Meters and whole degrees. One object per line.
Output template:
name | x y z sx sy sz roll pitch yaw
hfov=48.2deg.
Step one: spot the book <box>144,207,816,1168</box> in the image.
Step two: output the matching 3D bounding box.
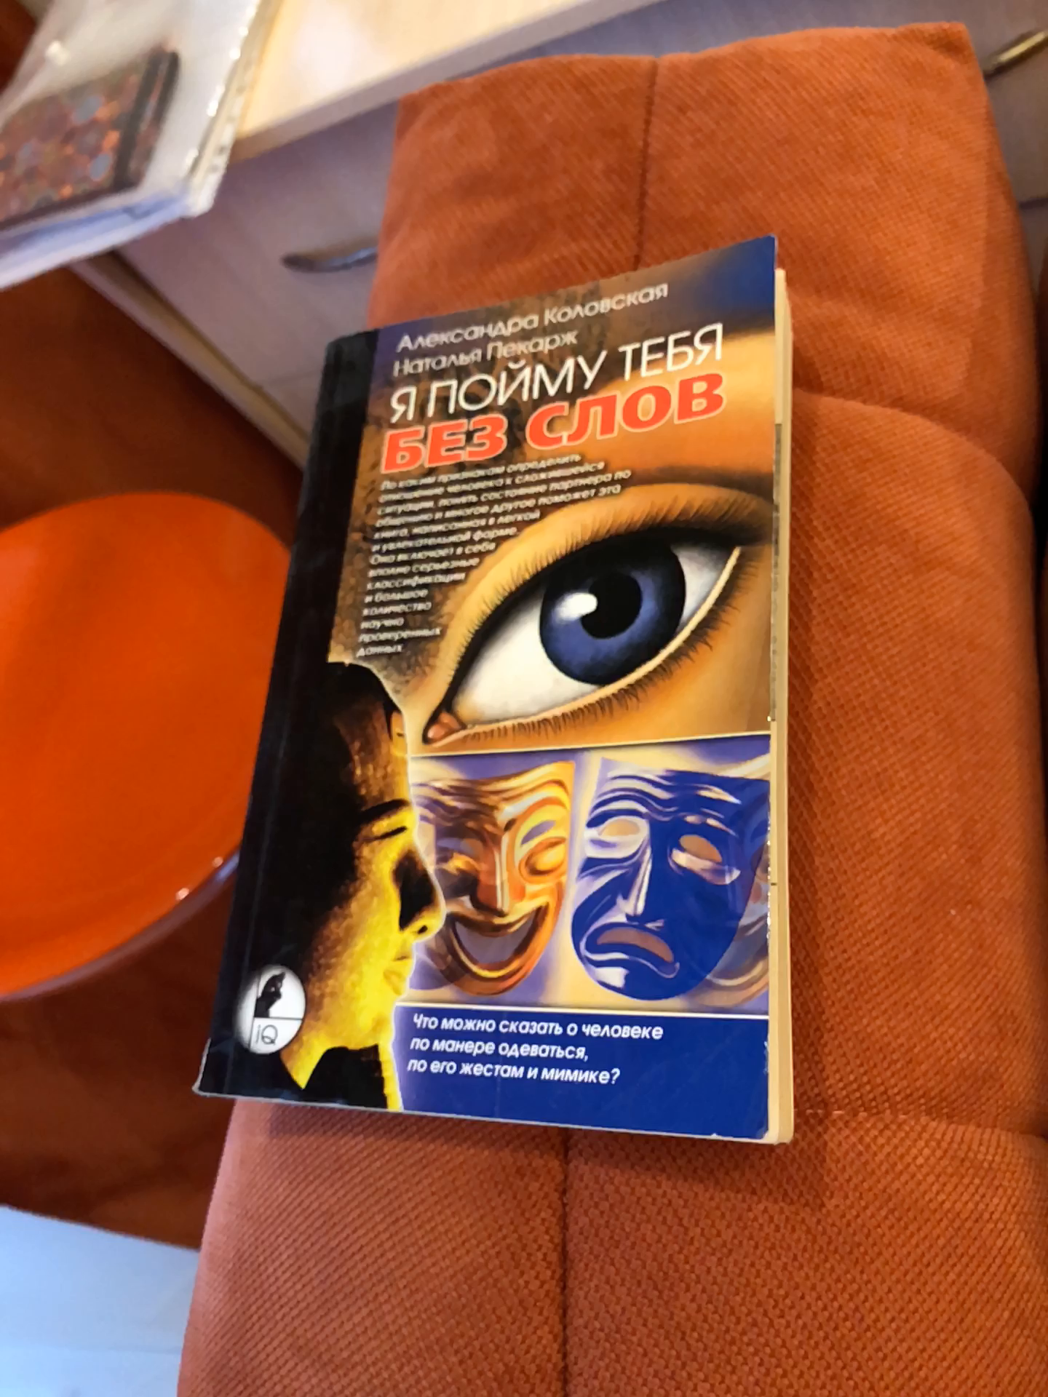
book | -0.005 -0.006 0.256 0.129 0.030 0.191 -5 67 25
